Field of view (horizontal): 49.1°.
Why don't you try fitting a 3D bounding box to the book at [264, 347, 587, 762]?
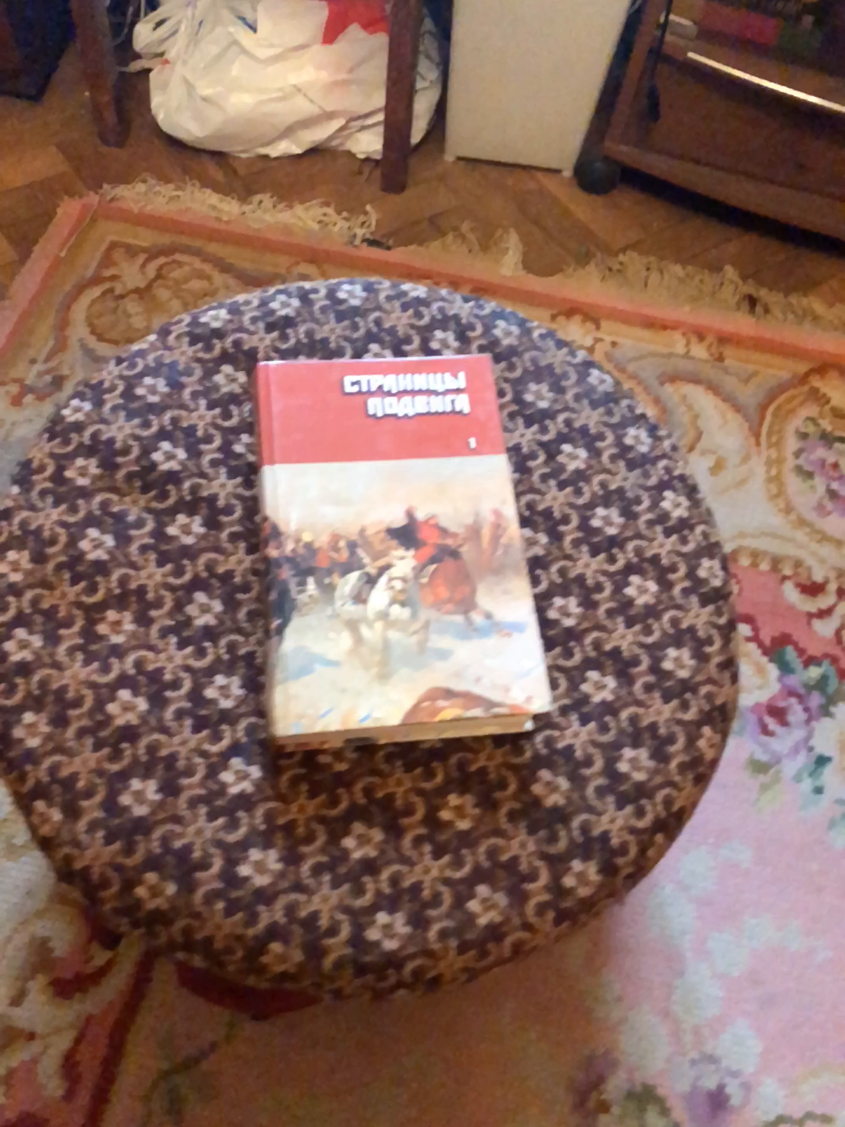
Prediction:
[{"bbox_3d":[-0.007,-0.013,0.470,0.134,0.040,0.206,-4,64,-8],"label":"book"}]
